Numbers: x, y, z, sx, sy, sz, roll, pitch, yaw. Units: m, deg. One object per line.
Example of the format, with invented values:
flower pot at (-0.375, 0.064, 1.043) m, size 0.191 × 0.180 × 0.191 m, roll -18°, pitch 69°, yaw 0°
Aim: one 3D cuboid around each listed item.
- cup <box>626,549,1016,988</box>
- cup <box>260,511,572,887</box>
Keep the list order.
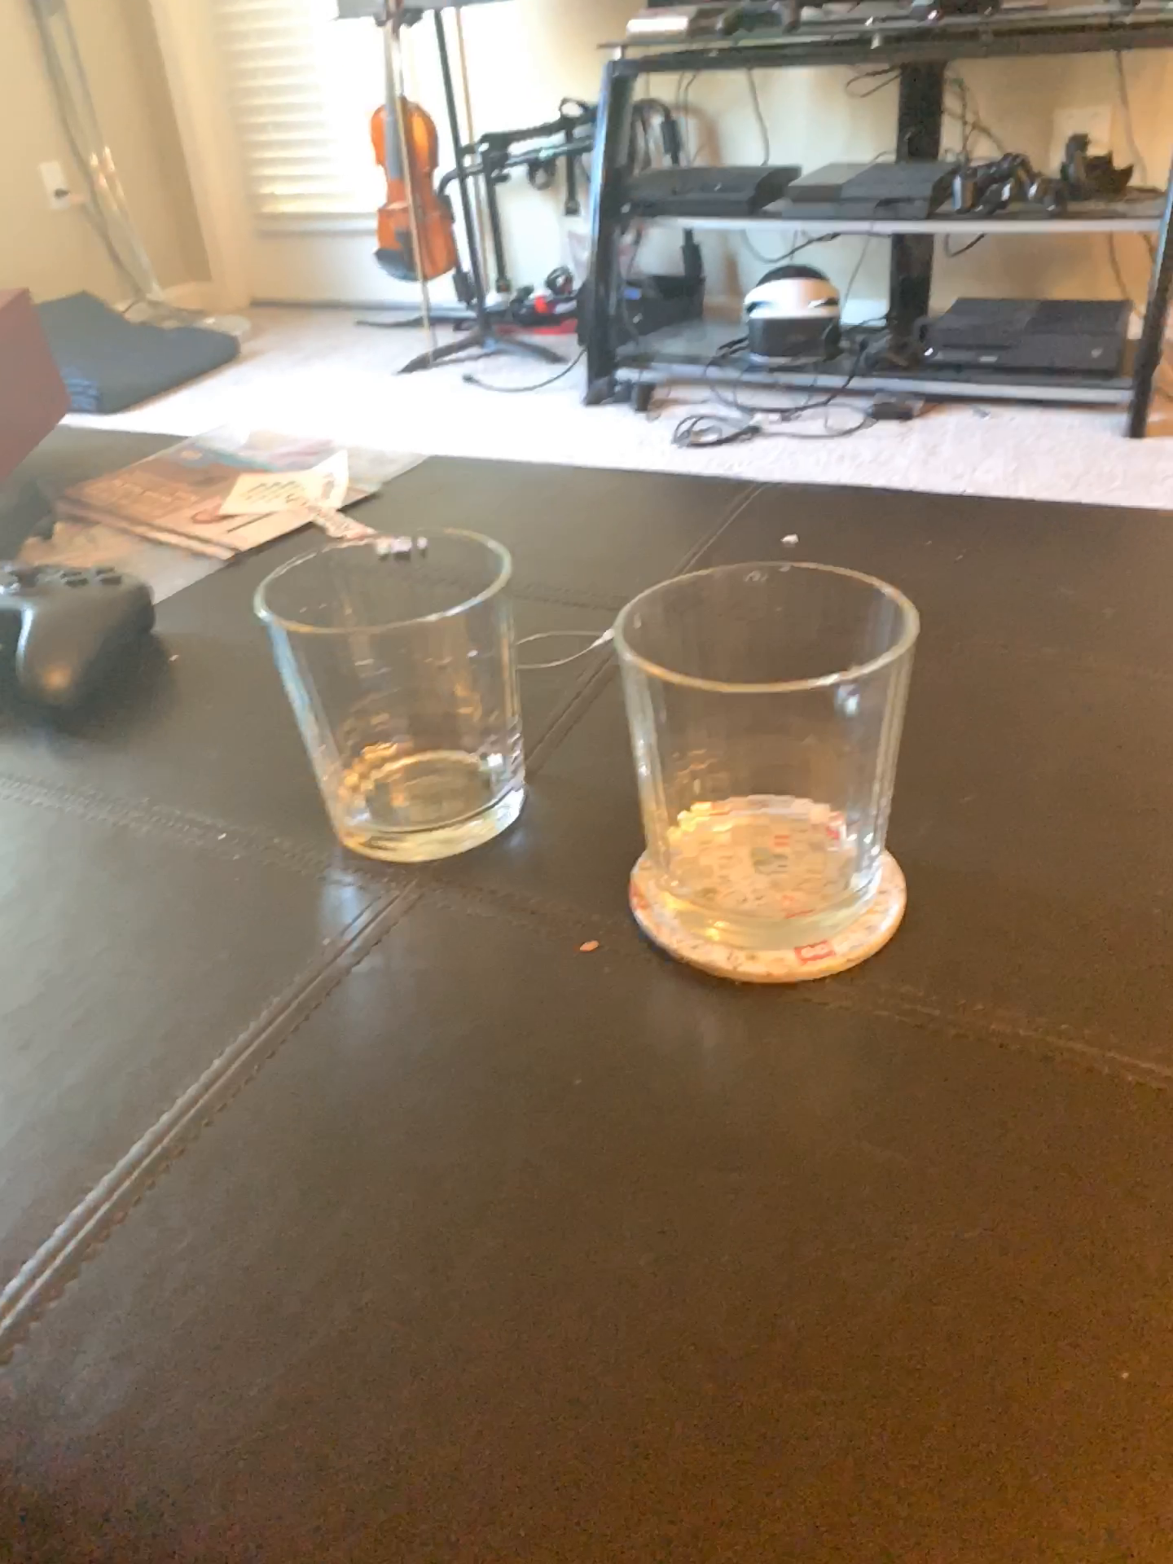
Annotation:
cup at (0.075, -0.008, 0.404) m, size 0.090 × 0.099 × 0.080 m, roll -19°, pitch 35°, yaw -21°
cup at (-0.063, -0.034, 0.455) m, size 0.080 × 0.099 × 0.080 m, roll -4°, pitch 33°, yaw 2°
